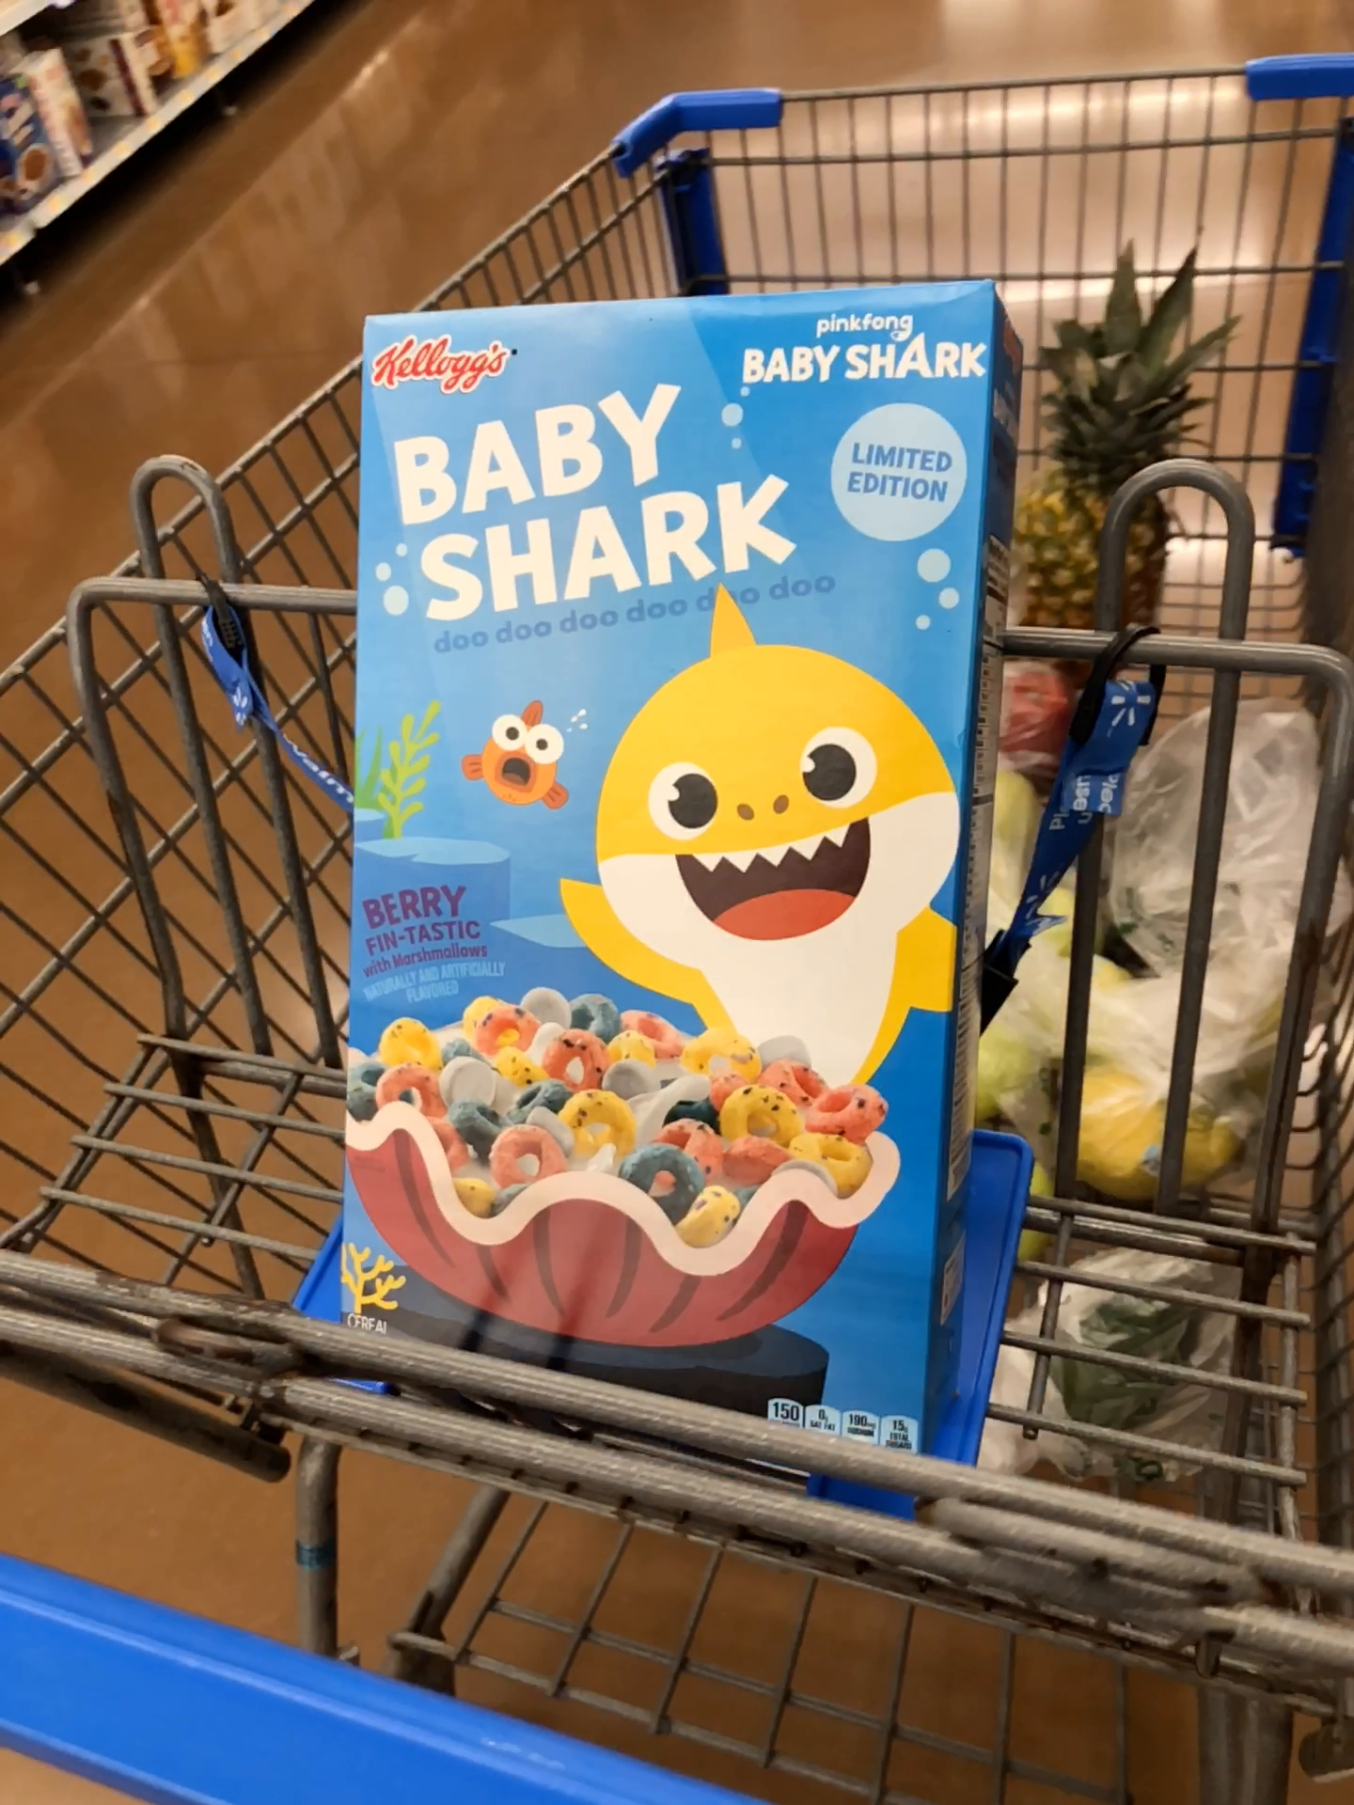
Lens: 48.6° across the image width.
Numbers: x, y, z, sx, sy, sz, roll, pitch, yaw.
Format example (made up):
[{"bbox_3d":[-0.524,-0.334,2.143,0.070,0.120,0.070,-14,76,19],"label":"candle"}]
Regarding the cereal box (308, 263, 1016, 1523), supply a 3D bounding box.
[{"bbox_3d":[-0.009,-0.006,0.464,0.190,0.340,0.070,5,7,18],"label":"cereal box"}]
